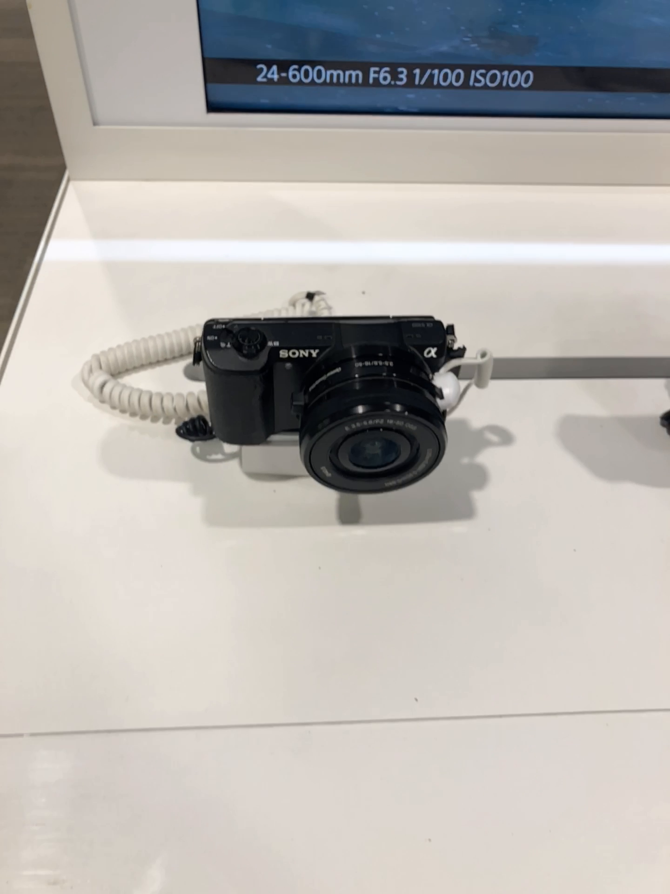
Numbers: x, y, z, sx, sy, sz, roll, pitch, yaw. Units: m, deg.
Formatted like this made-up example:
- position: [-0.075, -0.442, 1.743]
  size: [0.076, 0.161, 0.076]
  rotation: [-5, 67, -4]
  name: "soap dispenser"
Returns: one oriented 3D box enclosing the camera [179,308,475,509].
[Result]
- position: [-0.005, -0.017, 0.328]
  size: [0.113, 0.060, 0.062]
  rotation: [-1, 49, -3]
  name: "camera"
